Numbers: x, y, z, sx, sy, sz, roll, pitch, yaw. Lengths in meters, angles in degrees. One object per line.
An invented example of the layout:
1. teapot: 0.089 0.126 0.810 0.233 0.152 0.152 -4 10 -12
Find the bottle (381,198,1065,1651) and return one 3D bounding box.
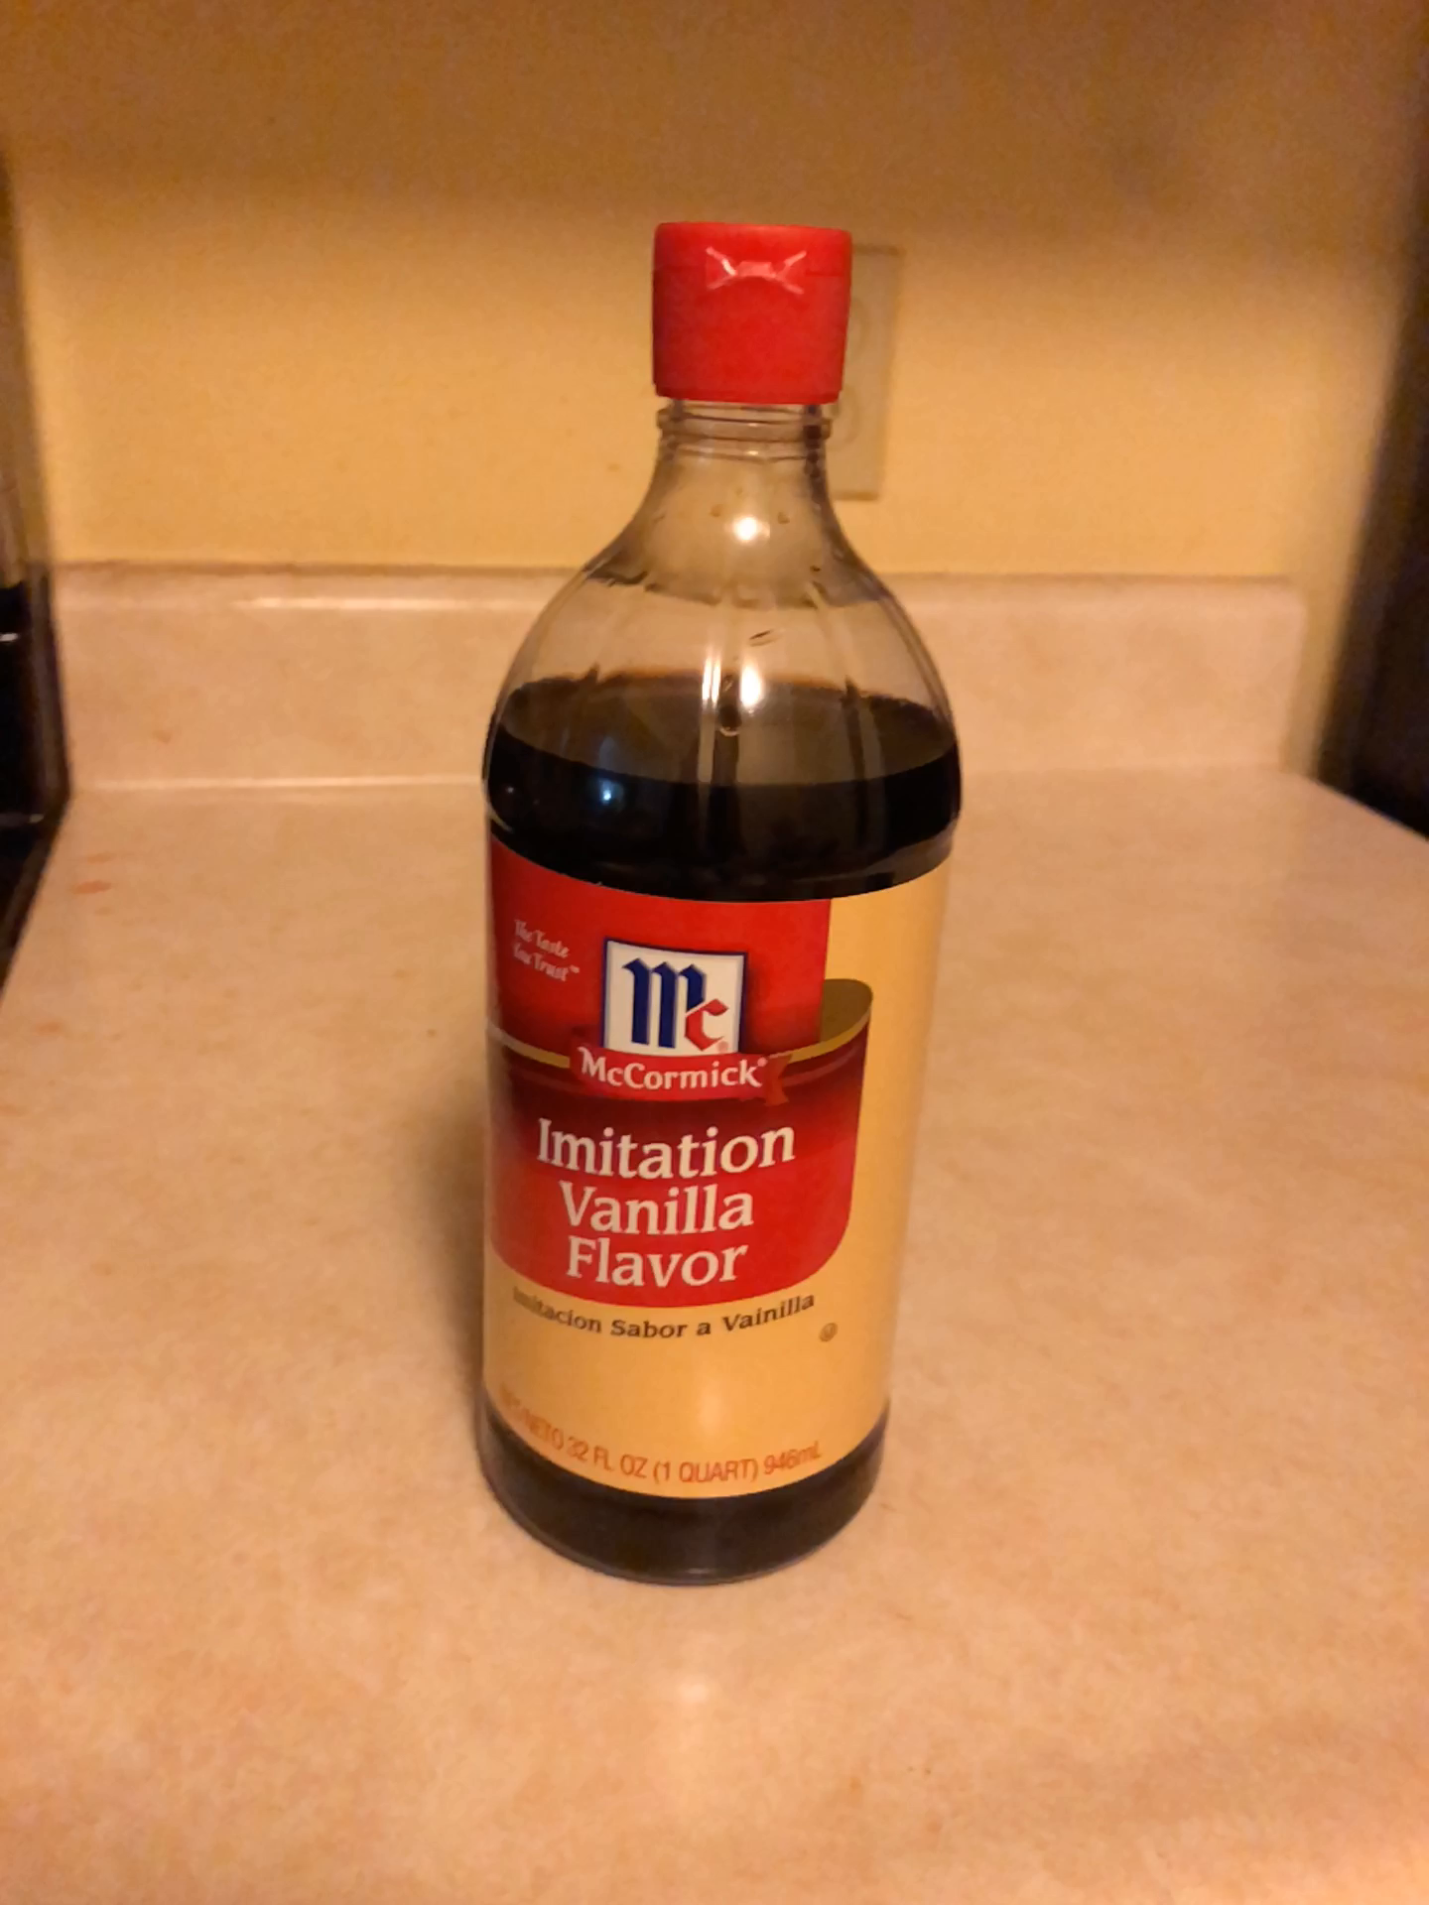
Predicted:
1. bottle: -0.001 -0.001 0.290 0.090 0.239 0.080 5 22 5
